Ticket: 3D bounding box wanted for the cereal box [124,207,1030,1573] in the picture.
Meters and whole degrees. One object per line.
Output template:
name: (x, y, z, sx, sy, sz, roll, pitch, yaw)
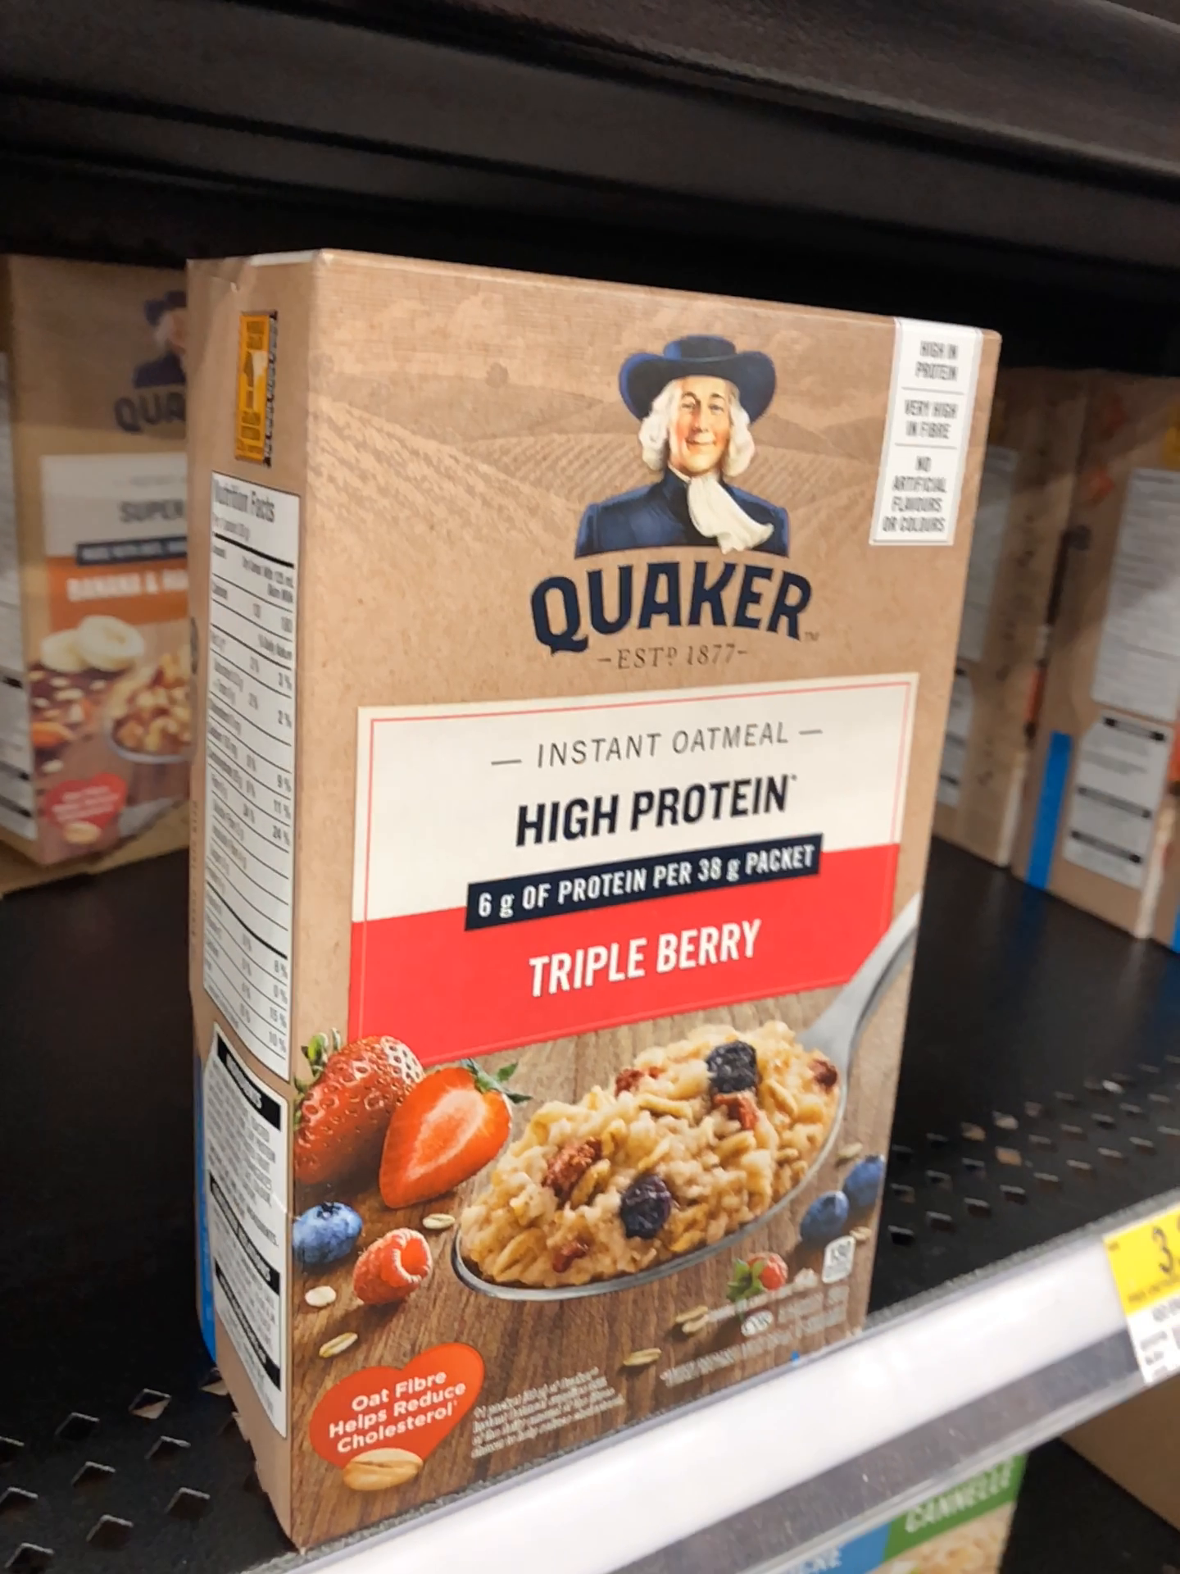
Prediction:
cereal box: (-0.006, 0.013, 0.241, 0.130, 0.199, 0.070, -6, 18, -30)
